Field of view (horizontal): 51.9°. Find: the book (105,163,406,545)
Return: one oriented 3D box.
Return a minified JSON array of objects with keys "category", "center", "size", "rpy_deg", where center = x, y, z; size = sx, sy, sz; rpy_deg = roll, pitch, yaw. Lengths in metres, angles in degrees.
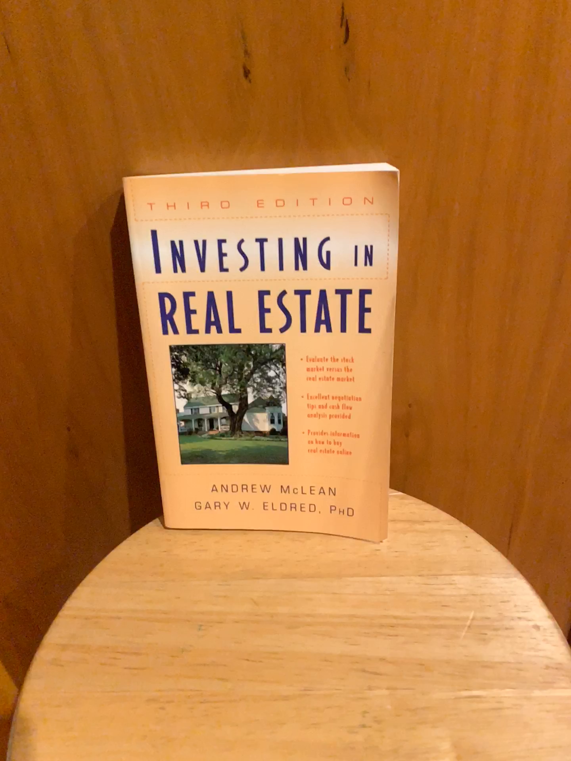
[{"category":"book","center":[-0.012,-0.011,0.369],"size":[0.160,0.229,0.050],"rpy_deg":[-1,19,5]}]
